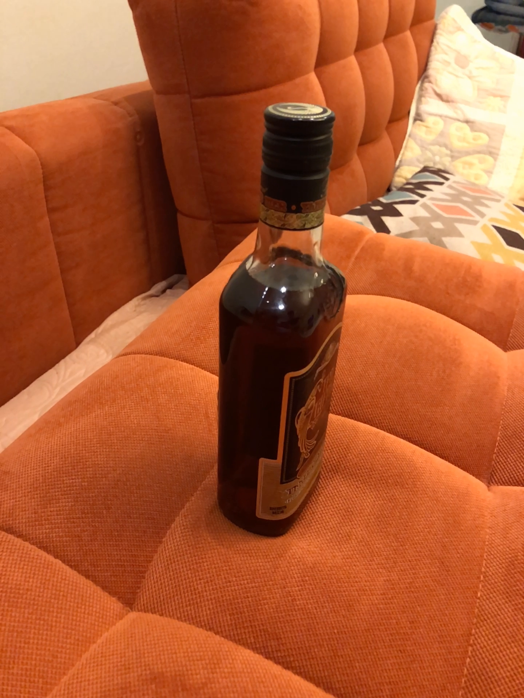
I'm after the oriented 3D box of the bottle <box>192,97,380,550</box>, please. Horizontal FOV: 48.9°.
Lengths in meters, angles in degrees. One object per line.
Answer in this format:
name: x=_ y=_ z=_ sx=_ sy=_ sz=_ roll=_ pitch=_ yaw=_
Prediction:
bottle: x=0.008 y=-0.003 z=0.318 sx=0.056 sy=0.237 sz=0.074 roll=18 pitch=37 yaw=20
